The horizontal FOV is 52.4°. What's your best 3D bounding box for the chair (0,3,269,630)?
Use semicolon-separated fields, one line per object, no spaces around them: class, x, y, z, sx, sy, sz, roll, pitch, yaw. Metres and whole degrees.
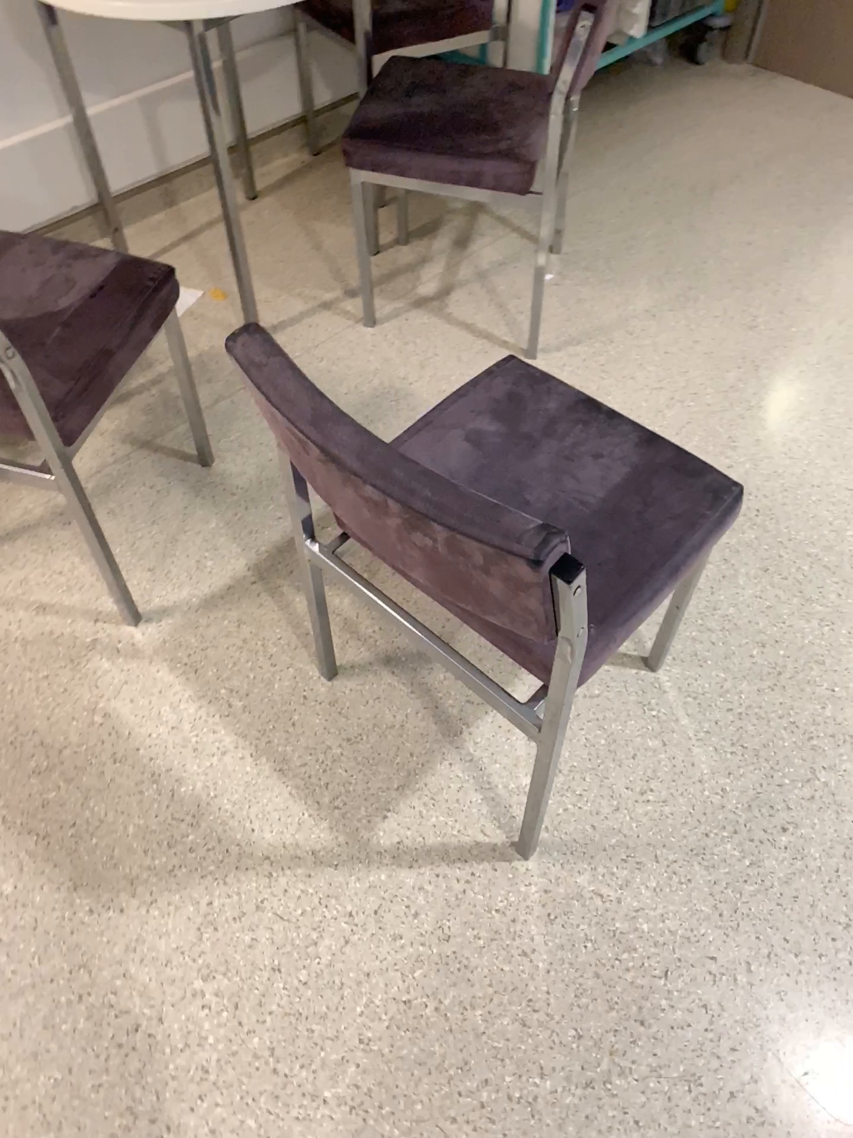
chair;-0.744;-0.364;1.331;0.741;0.615;0.514;15;61;12

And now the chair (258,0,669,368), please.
chair;0.093;-0.892;1.603;0.510;0.615;0.746;12;52;6

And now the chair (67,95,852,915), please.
chair;0.105;-0.133;1.116;0.683;0.505;0.683;36;59;25
